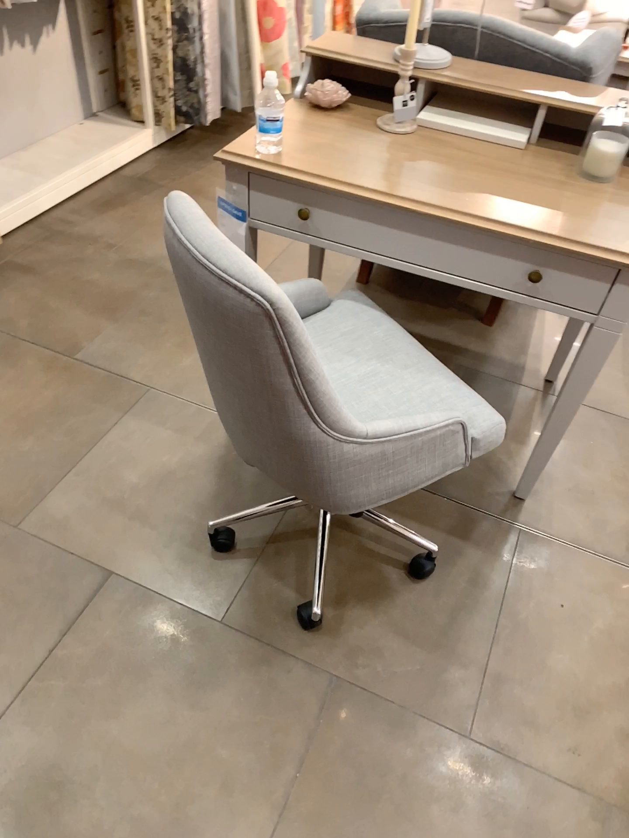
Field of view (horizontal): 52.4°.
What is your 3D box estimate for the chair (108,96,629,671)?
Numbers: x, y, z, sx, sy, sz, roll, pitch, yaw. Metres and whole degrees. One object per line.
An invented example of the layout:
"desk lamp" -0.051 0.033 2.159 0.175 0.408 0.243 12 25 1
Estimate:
"chair" 0.040 -0.079 1.367 0.637 0.891 0.628 -20 50 -24
